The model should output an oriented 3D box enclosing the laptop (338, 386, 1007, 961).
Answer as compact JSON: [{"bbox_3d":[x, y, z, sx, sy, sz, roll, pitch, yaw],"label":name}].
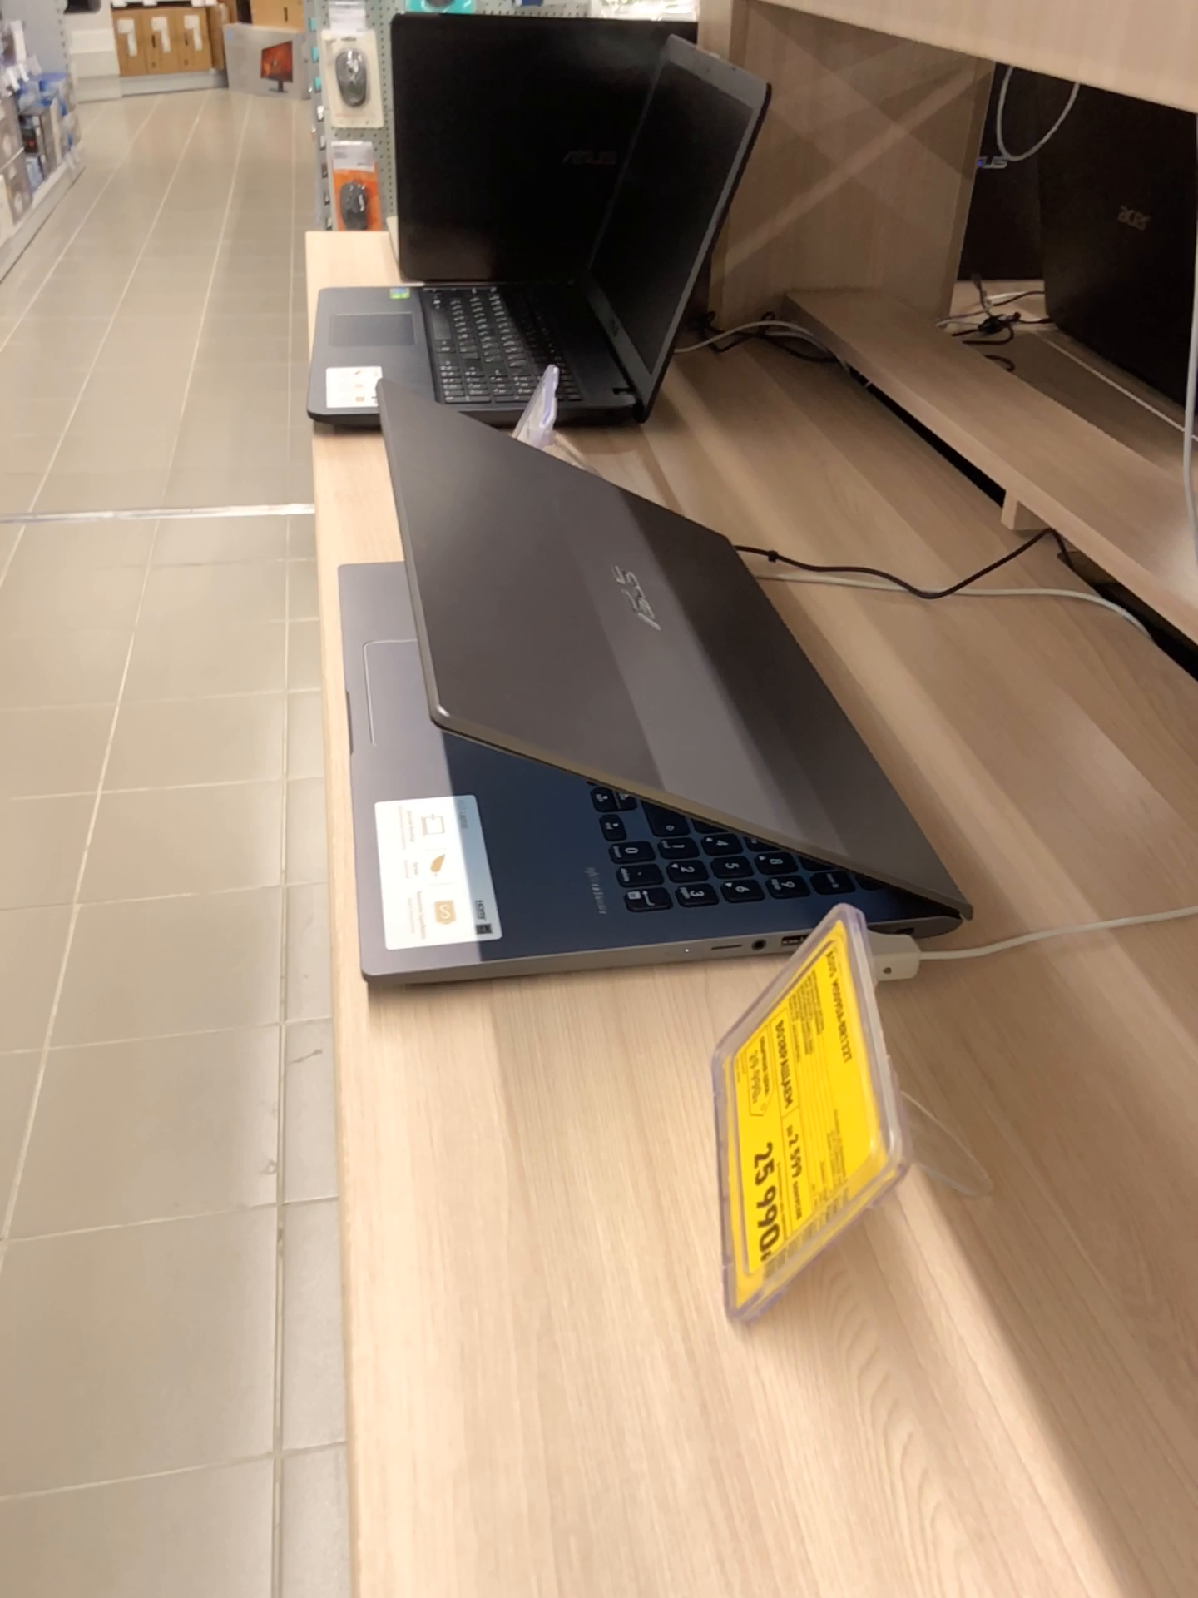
[{"bbox_3d":[0.000,-0.089,0.622,0.232,0.111,0.350,-4,34,-10],"label":"laptop"}]
